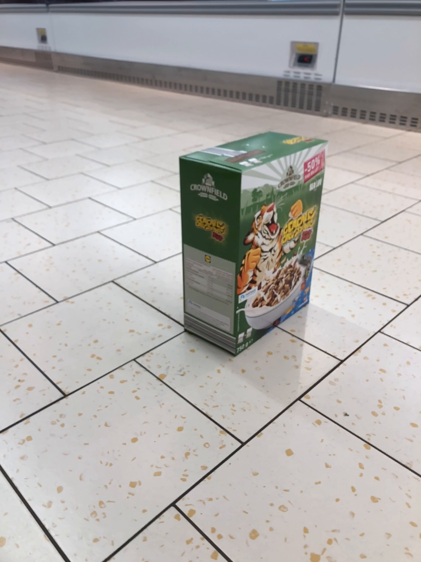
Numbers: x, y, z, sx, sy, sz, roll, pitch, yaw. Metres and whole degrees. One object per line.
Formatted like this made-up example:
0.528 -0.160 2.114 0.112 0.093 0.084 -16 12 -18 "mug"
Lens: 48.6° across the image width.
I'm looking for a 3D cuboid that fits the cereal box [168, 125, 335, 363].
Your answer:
0.058 -0.062 0.654 0.110 0.258 0.211 22 35 35 "cereal box"
